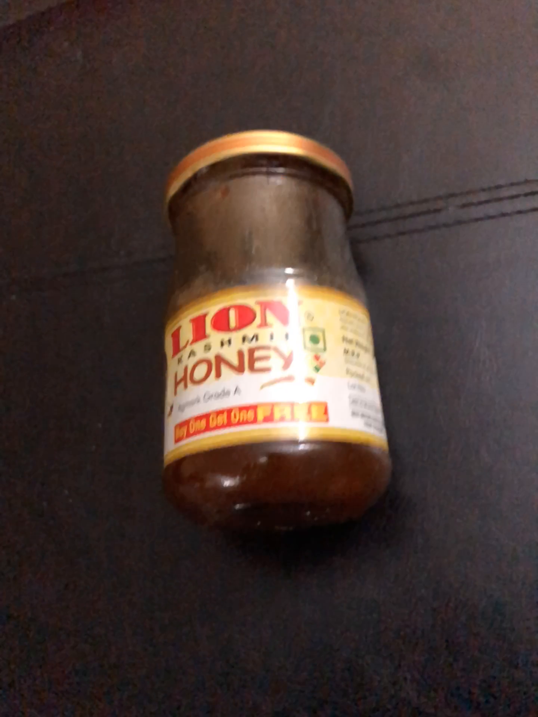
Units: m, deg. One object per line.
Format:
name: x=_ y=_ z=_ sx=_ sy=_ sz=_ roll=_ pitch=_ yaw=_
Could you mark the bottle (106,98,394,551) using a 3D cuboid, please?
bottle: x=-0.003 y=-0.003 z=0.175 sx=0.060 sy=0.059 sz=0.108 roll=-8 pitch=71 yaw=13
